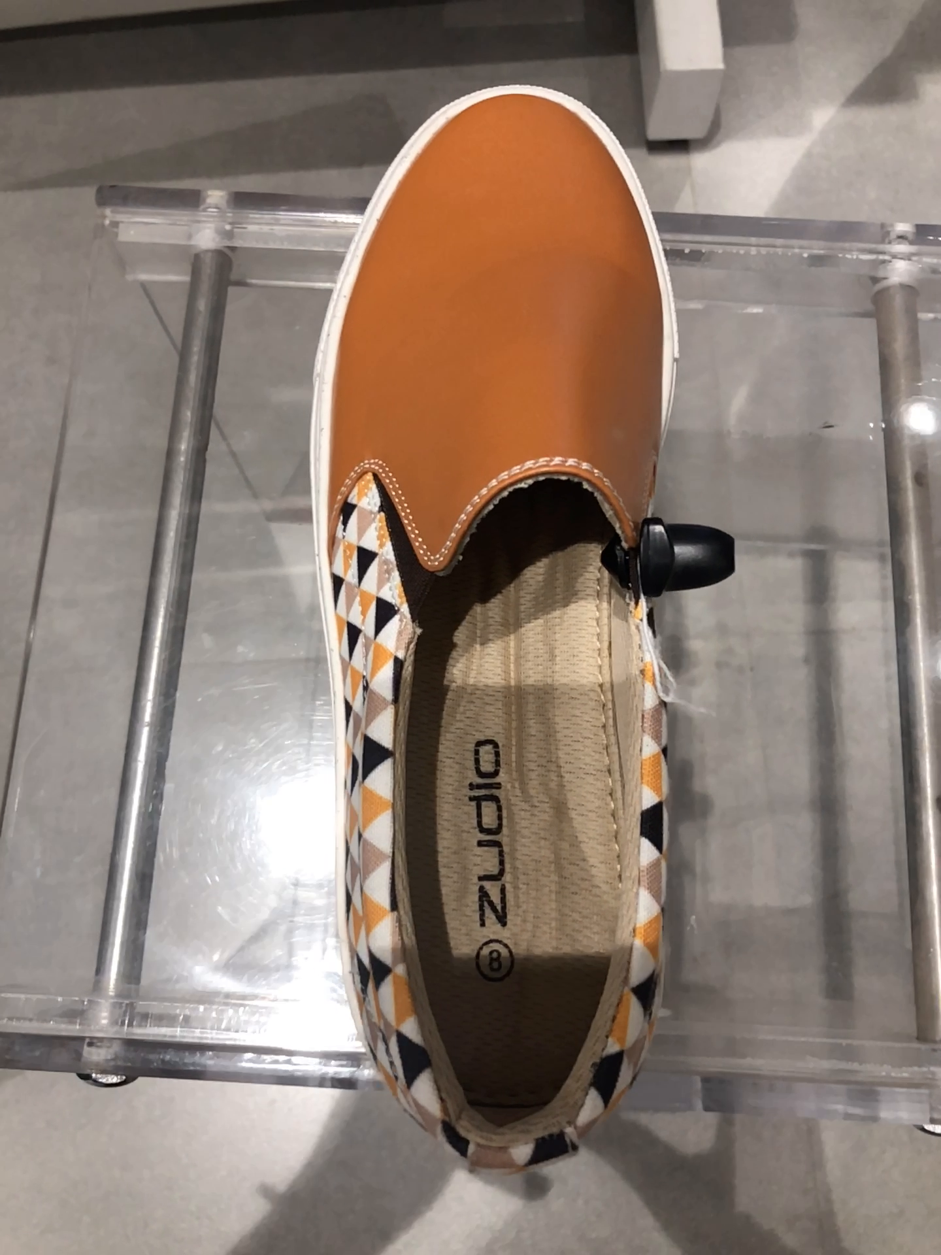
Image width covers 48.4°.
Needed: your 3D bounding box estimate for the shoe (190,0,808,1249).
[{"bbox_3d":[0.009,-0.018,0.272,0.110,0.100,0.290,1,75,1],"label":"shoe"}]
